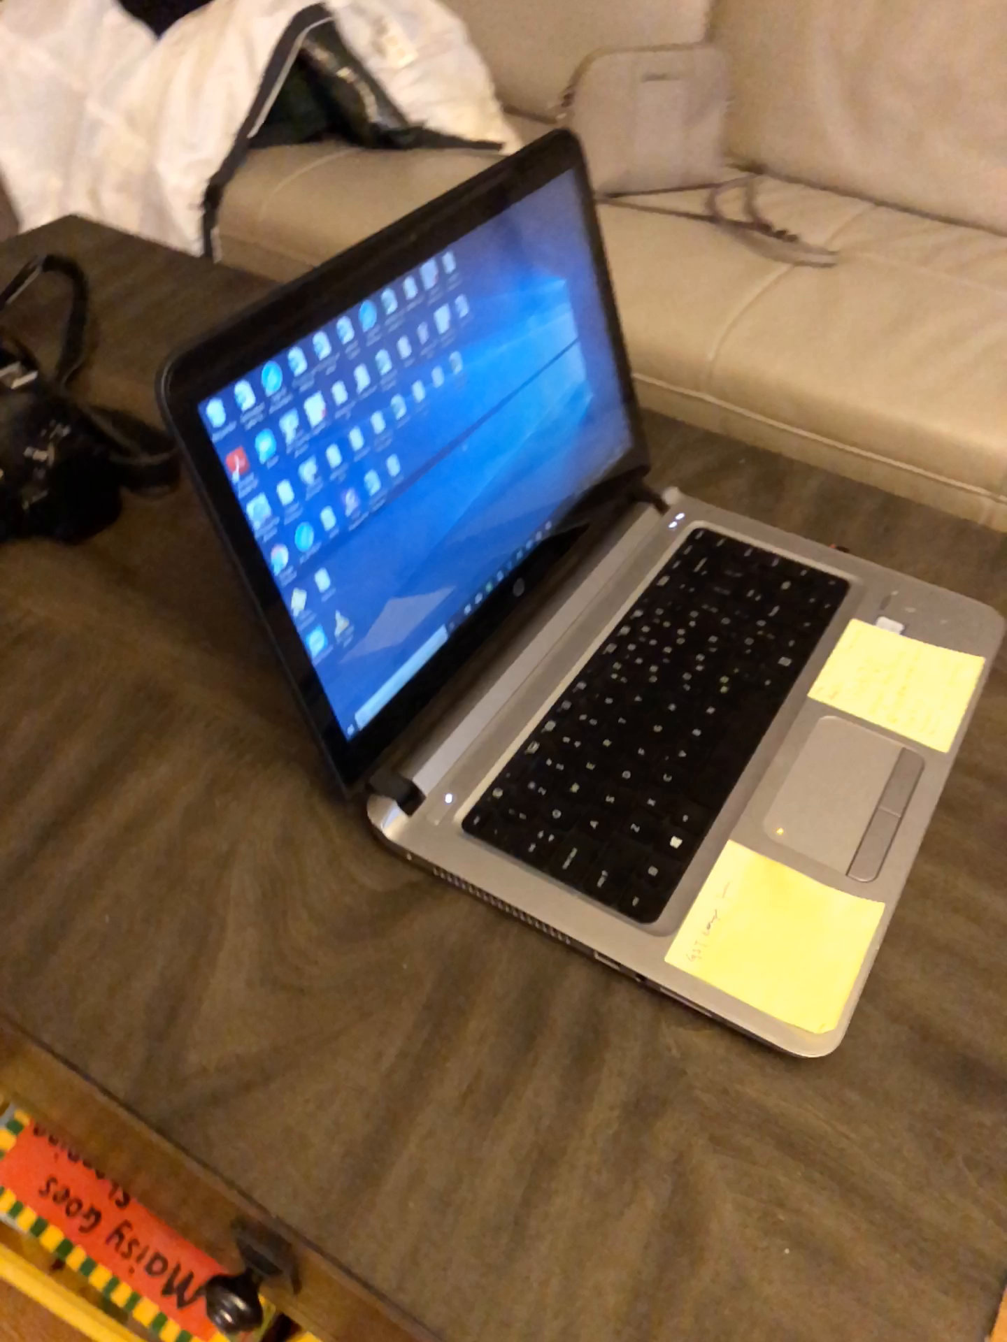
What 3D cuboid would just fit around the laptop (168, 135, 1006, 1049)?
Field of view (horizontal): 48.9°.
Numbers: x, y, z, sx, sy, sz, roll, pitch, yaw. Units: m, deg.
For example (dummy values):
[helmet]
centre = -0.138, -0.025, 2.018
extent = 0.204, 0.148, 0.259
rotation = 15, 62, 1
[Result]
[laptop]
centre = 0.085, -0.072, 0.535
extent = 0.307, 0.208, 0.321
rotation = 24, 48, 20
